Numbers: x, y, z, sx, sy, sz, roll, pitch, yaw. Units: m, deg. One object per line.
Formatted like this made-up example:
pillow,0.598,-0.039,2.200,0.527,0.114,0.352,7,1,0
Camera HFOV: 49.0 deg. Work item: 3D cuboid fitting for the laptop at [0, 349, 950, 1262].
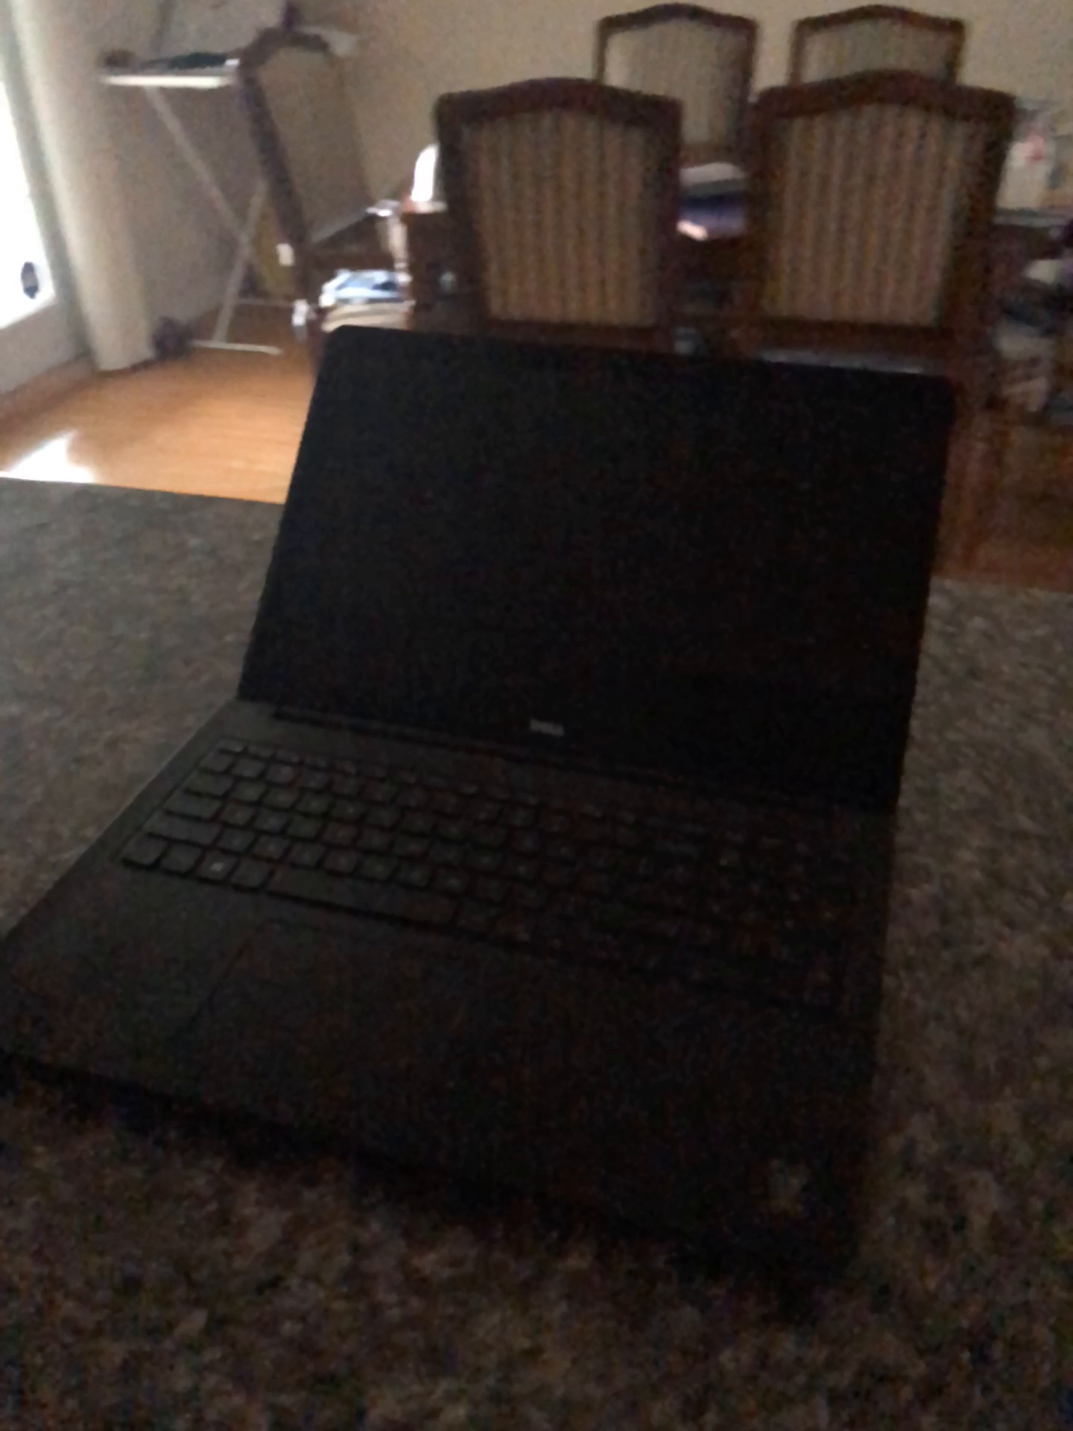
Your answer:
laptop,-0.009,-0.020,0.560,0.361,0.158,0.416,9,35,14
